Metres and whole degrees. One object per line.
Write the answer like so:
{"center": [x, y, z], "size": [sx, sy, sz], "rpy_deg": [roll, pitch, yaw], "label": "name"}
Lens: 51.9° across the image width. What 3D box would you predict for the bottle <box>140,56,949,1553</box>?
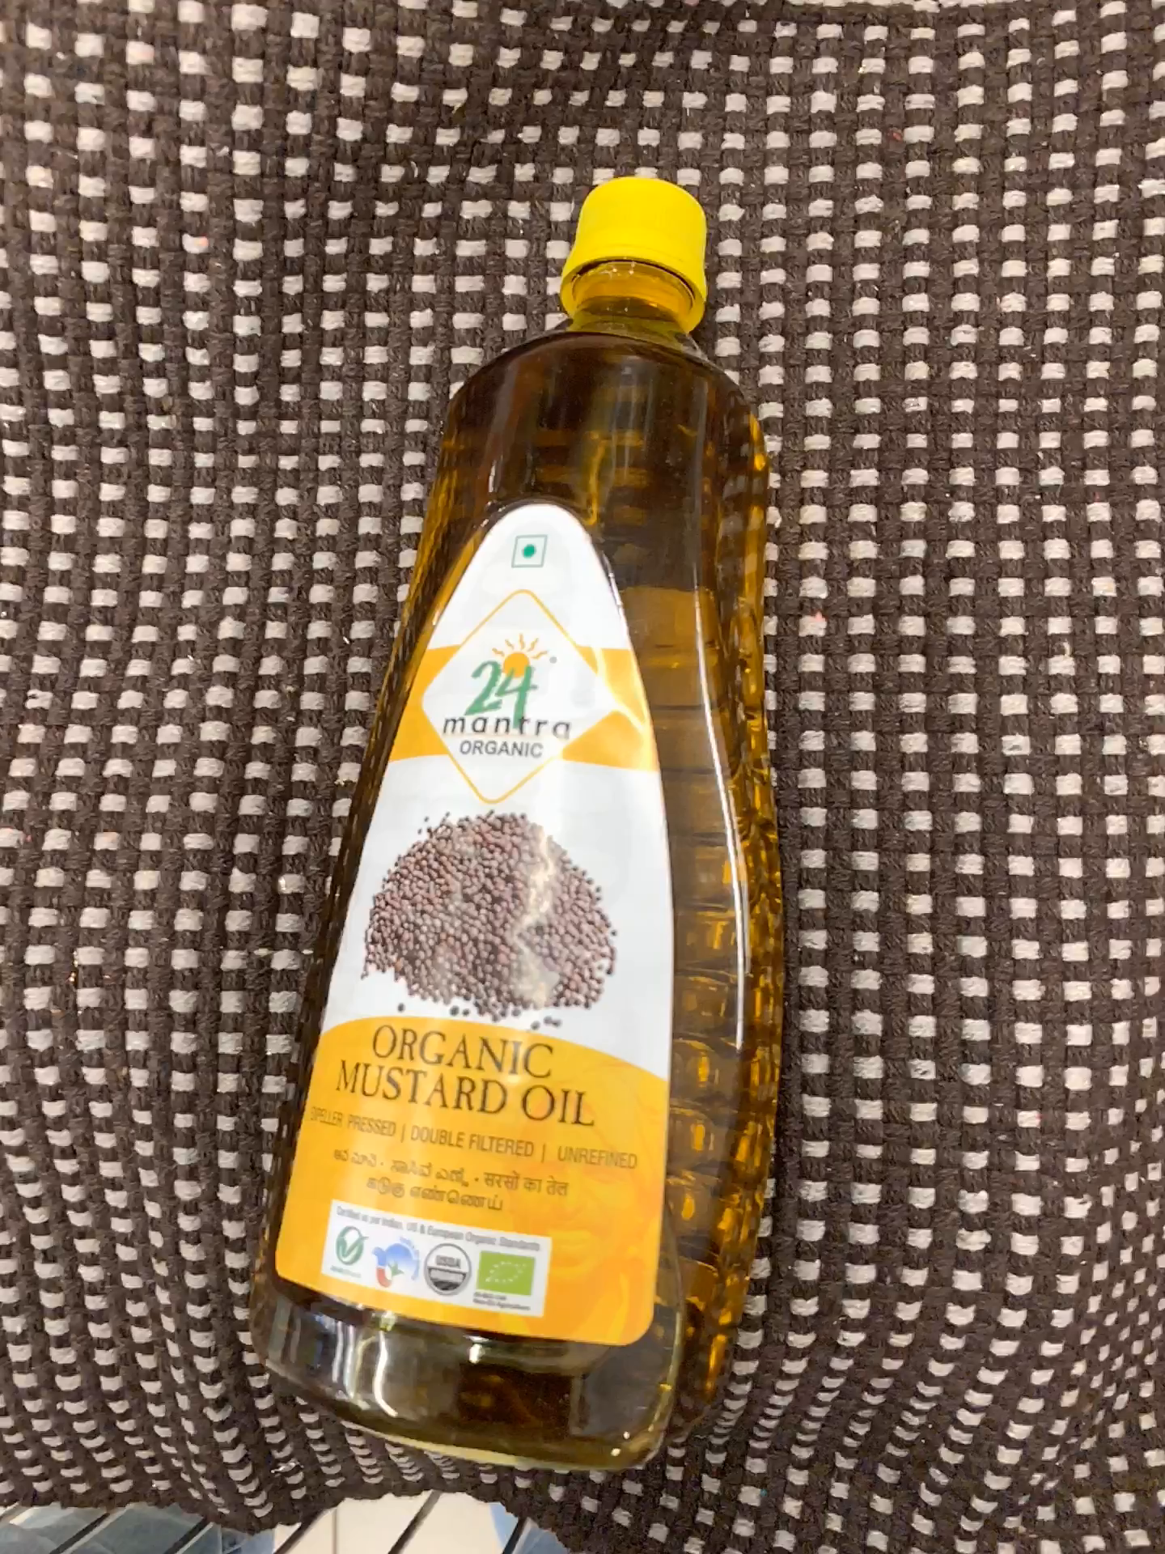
{"center": [-0.002, 0.002, 0.235], "size": [0.110, 0.060, 0.250], "rpy_deg": [8, 88, 18], "label": "bottle"}
